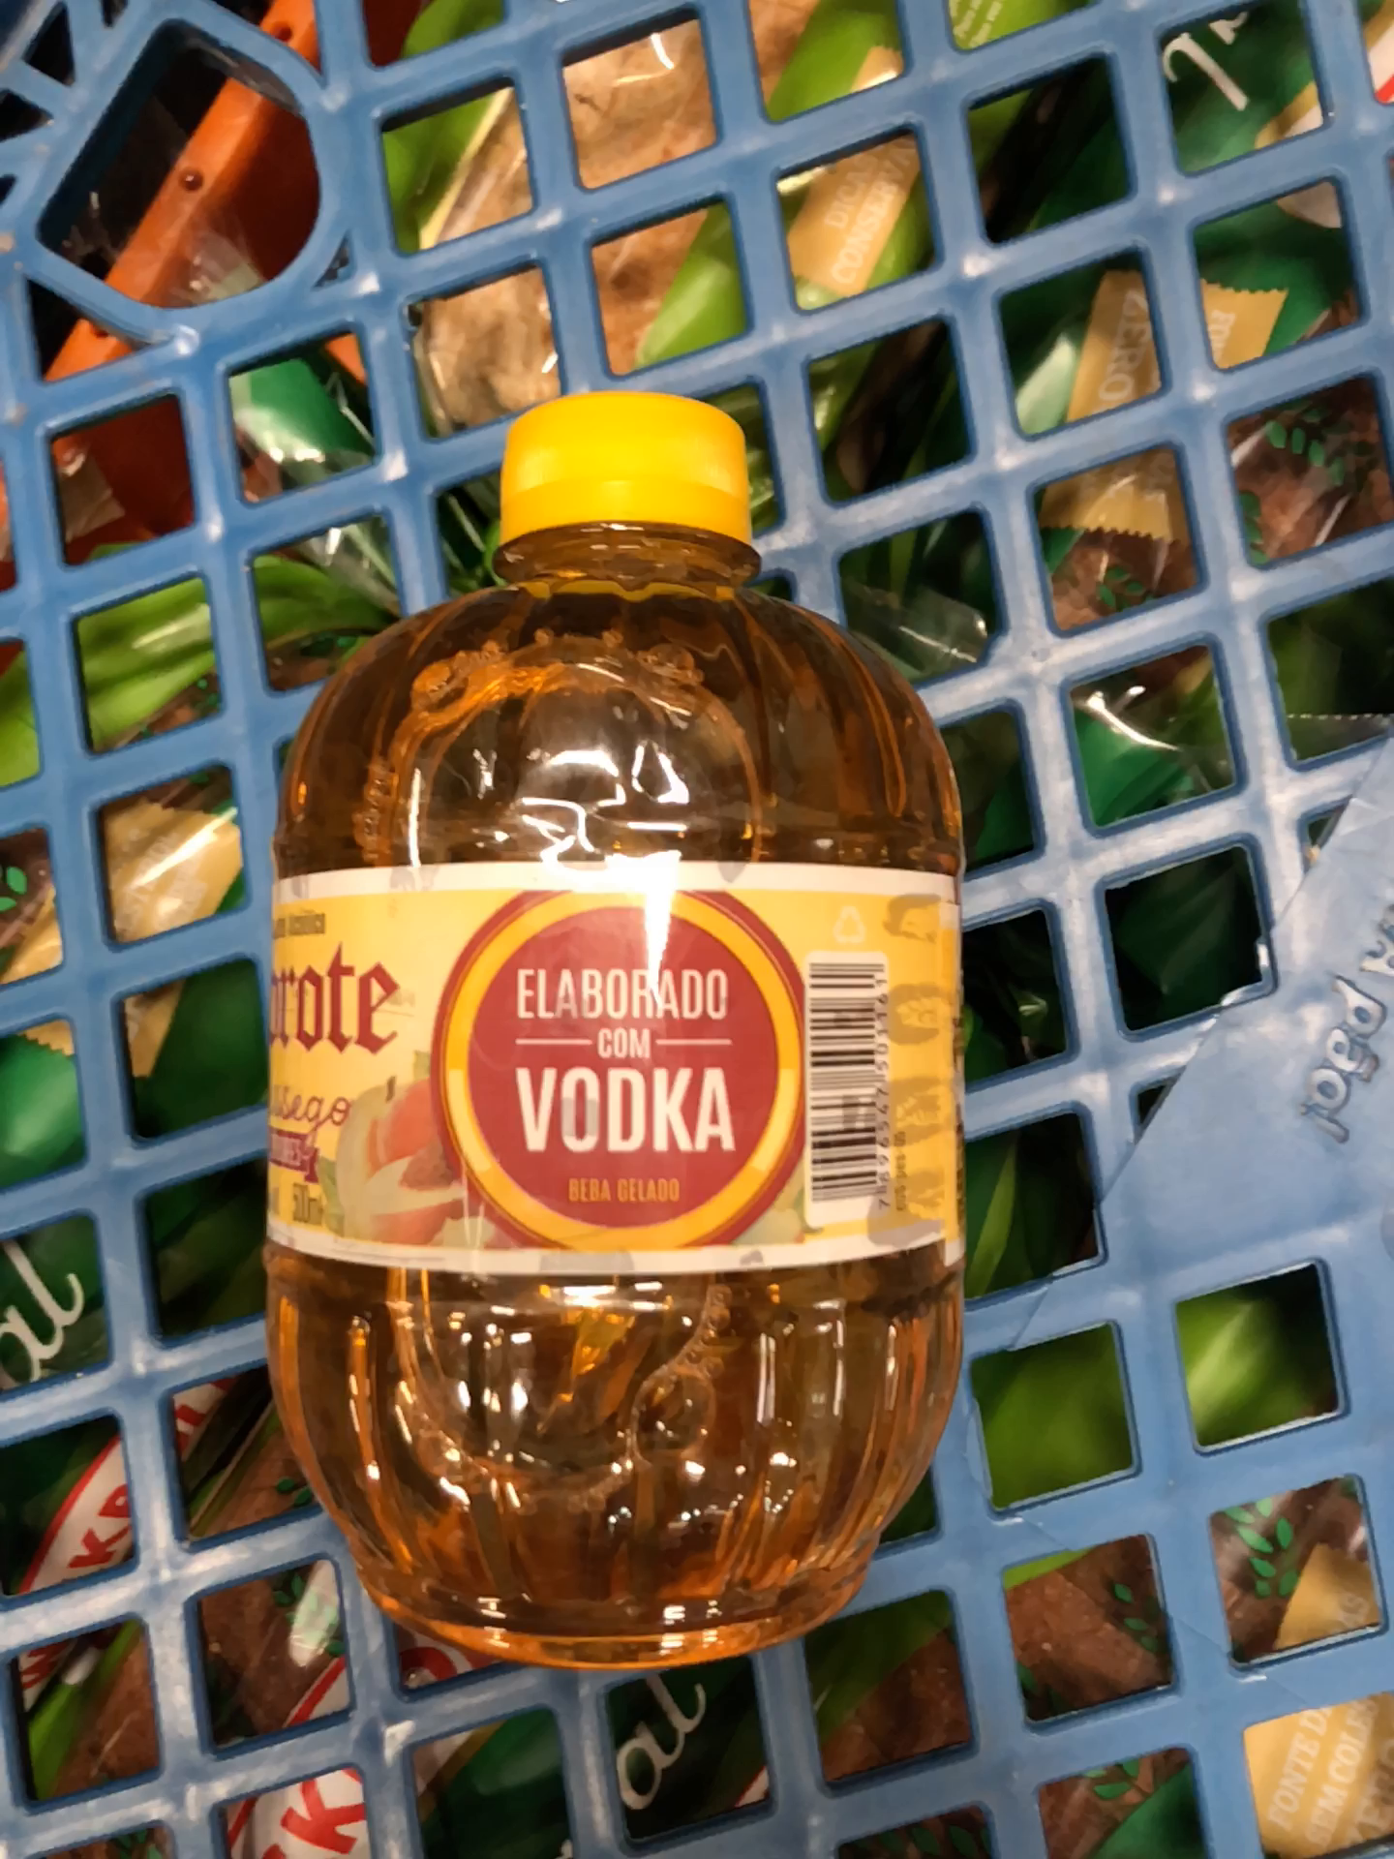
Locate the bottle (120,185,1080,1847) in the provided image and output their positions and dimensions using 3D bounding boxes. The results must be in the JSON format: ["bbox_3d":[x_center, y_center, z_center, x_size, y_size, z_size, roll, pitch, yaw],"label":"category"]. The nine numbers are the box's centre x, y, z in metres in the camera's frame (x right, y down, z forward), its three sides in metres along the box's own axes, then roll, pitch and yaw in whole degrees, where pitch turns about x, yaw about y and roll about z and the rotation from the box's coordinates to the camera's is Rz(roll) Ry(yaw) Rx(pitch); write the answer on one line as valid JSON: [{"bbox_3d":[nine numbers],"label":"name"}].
[{"bbox_3d":[-0.011,0.007,0.175,0.080,0.070,0.130,-2,88,40],"label":"bottle"}]
